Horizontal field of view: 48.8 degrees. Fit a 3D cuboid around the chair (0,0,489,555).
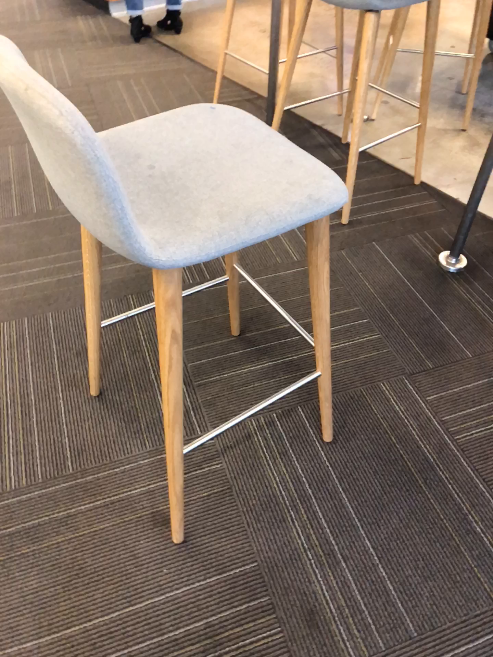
[{"bbox_3d":[-0.072,-0.134,1.110,0.560,0.946,0.572,-24,49,-24],"label":"chair"}]
